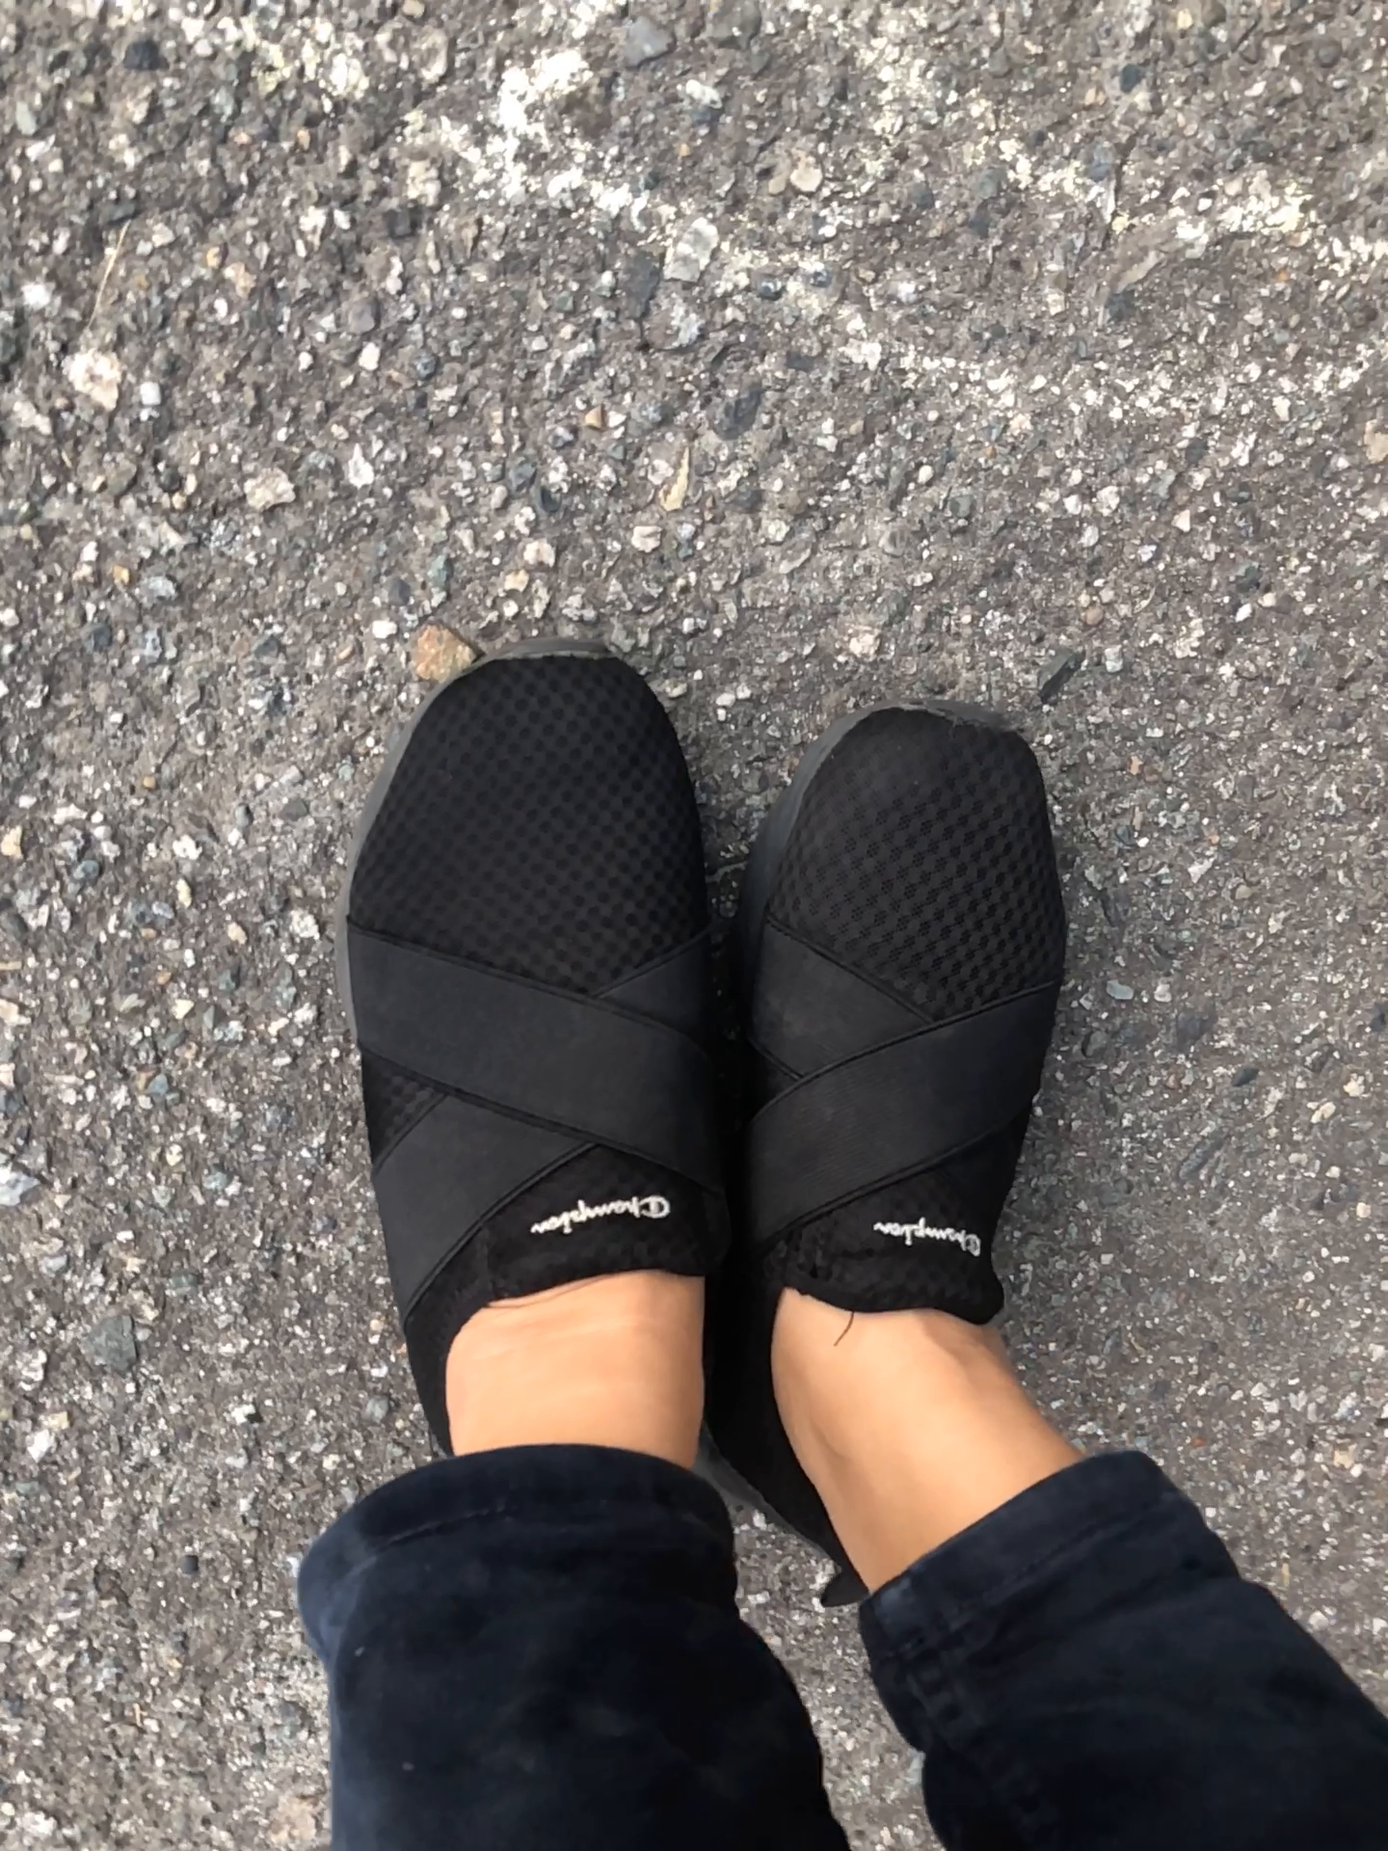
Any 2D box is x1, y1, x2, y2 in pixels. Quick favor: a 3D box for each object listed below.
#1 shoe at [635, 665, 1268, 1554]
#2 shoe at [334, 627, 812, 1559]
[{"bbox_3d":[0.059,0.052,0.415,0.100,0.080,0.220,7,106,-16],"label":"shoe"},{"bbox_3d":[-0.039,0.042,0.389,0.100,0.070,0.220,0,107,-14],"label":"shoe"}]
